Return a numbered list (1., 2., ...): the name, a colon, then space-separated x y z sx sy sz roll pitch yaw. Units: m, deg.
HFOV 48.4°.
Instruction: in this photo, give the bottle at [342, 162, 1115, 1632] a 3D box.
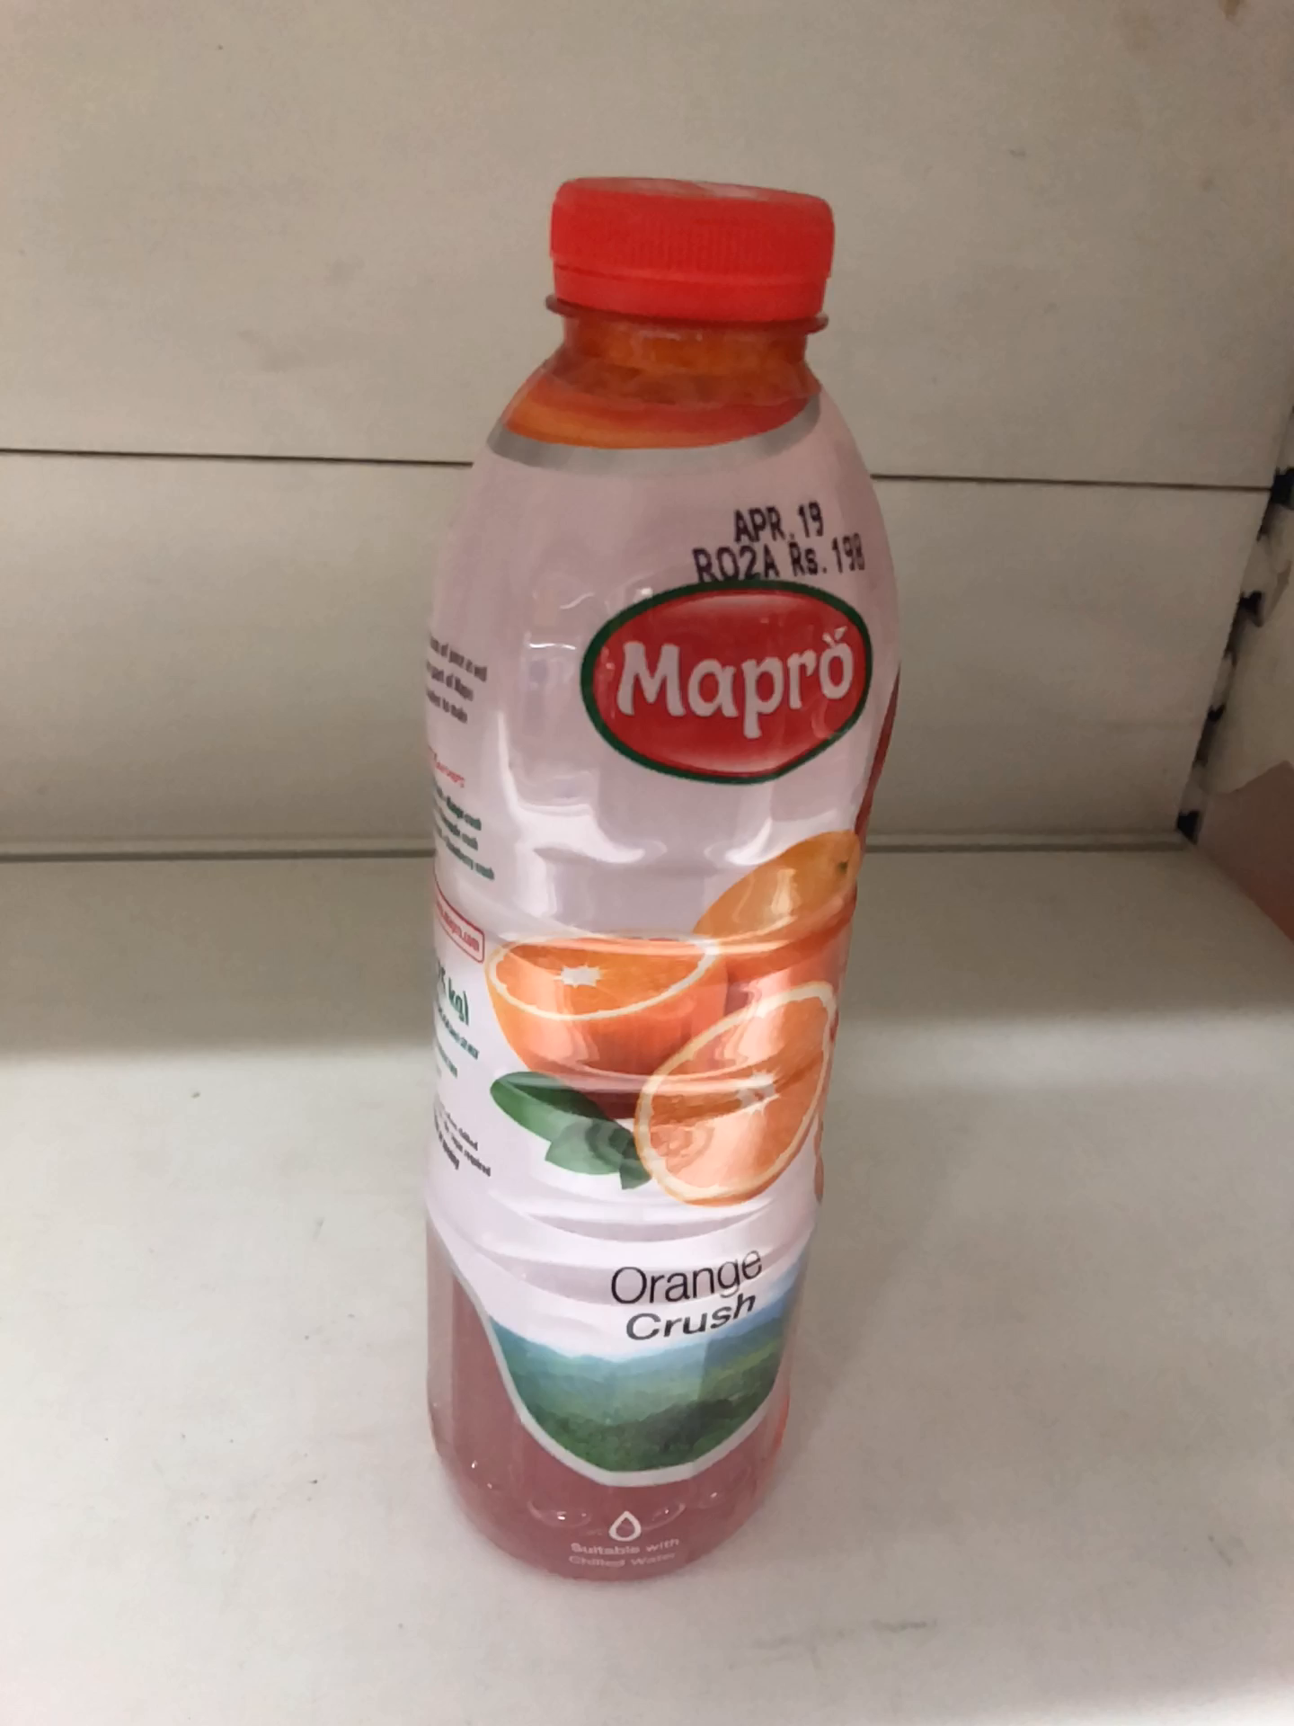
1. bottle: -0.001 0.016 0.259 0.090 0.248 0.070 -5 29 -16
